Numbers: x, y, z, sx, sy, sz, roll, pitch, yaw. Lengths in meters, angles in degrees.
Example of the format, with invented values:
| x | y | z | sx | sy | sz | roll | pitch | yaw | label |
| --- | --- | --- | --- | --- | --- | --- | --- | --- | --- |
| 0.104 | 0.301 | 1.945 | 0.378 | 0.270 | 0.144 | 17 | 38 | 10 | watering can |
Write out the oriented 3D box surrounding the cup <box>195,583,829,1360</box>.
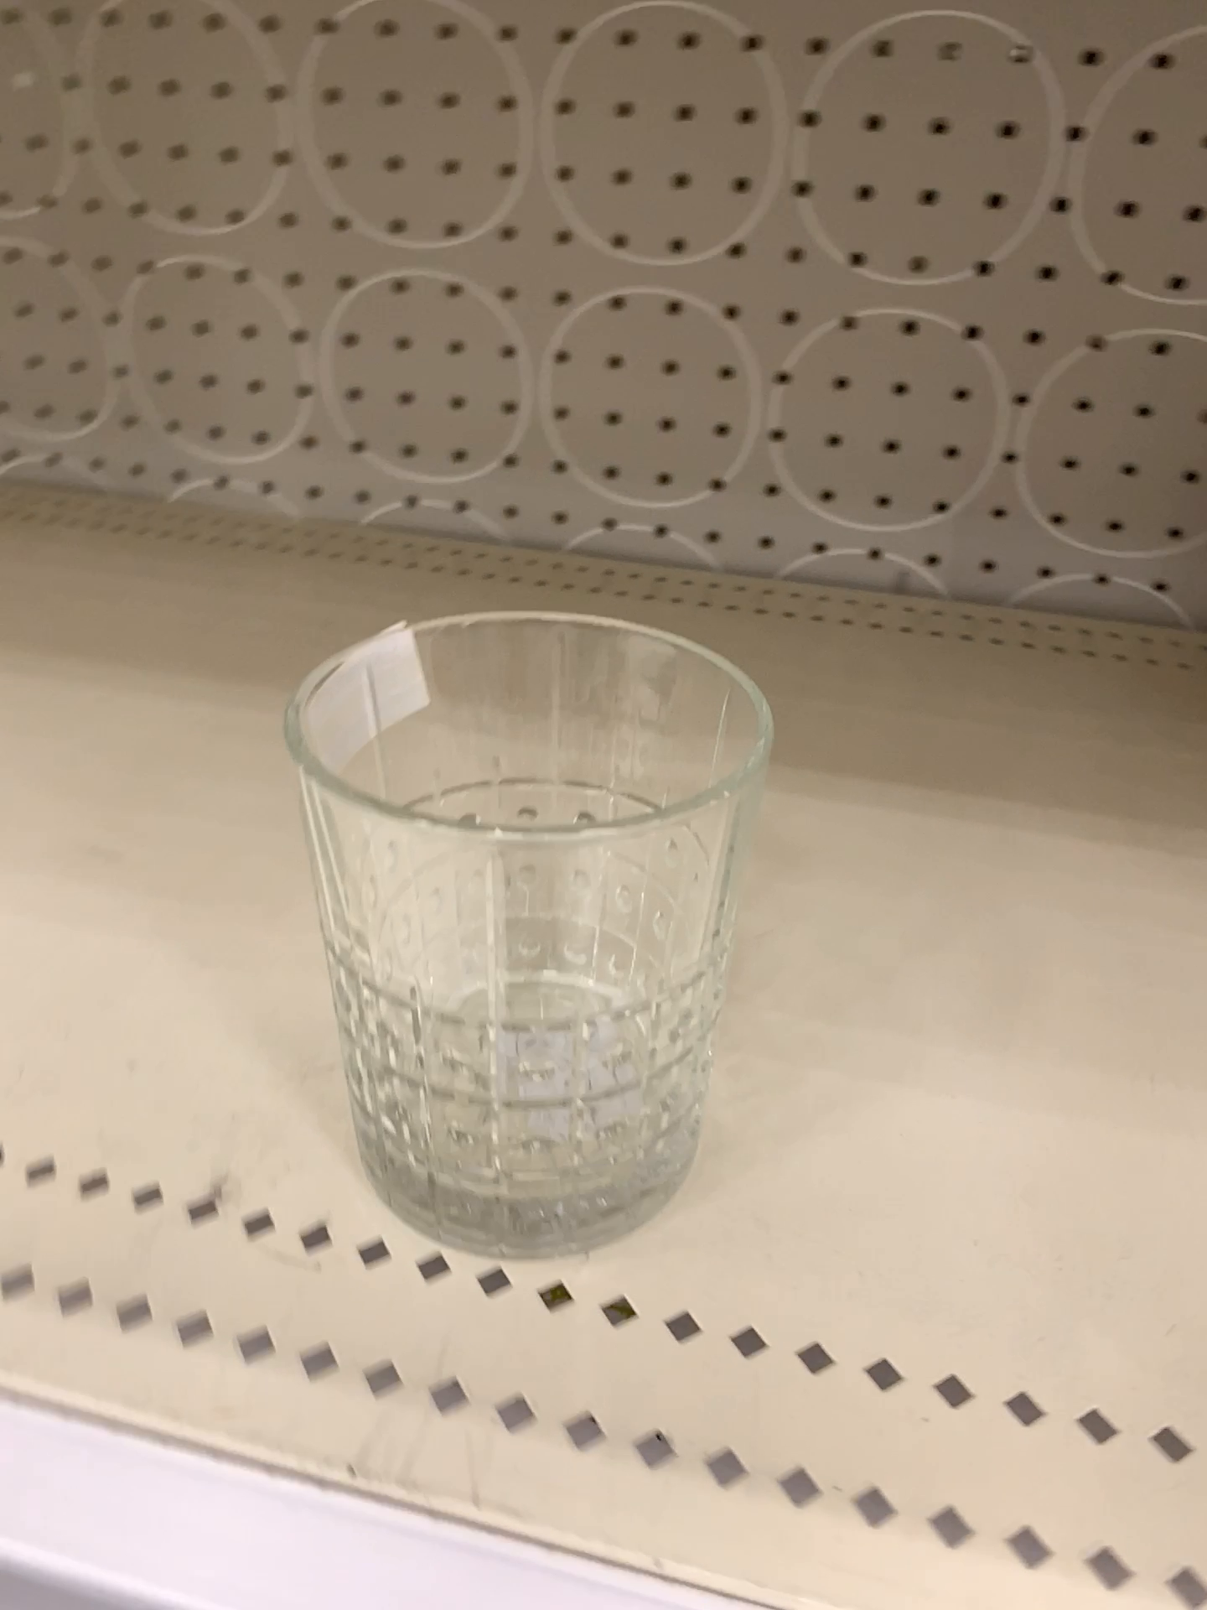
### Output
| x | y | z | sx | sy | sz | roll | pitch | yaw | label |
| --- | --- | --- | --- | --- | --- | --- | --- | --- | --- |
| -0.012 | 0.029 | 0.256 | 0.090 | 0.109 | 0.090 | 2 | 32 | -1 | cup |
